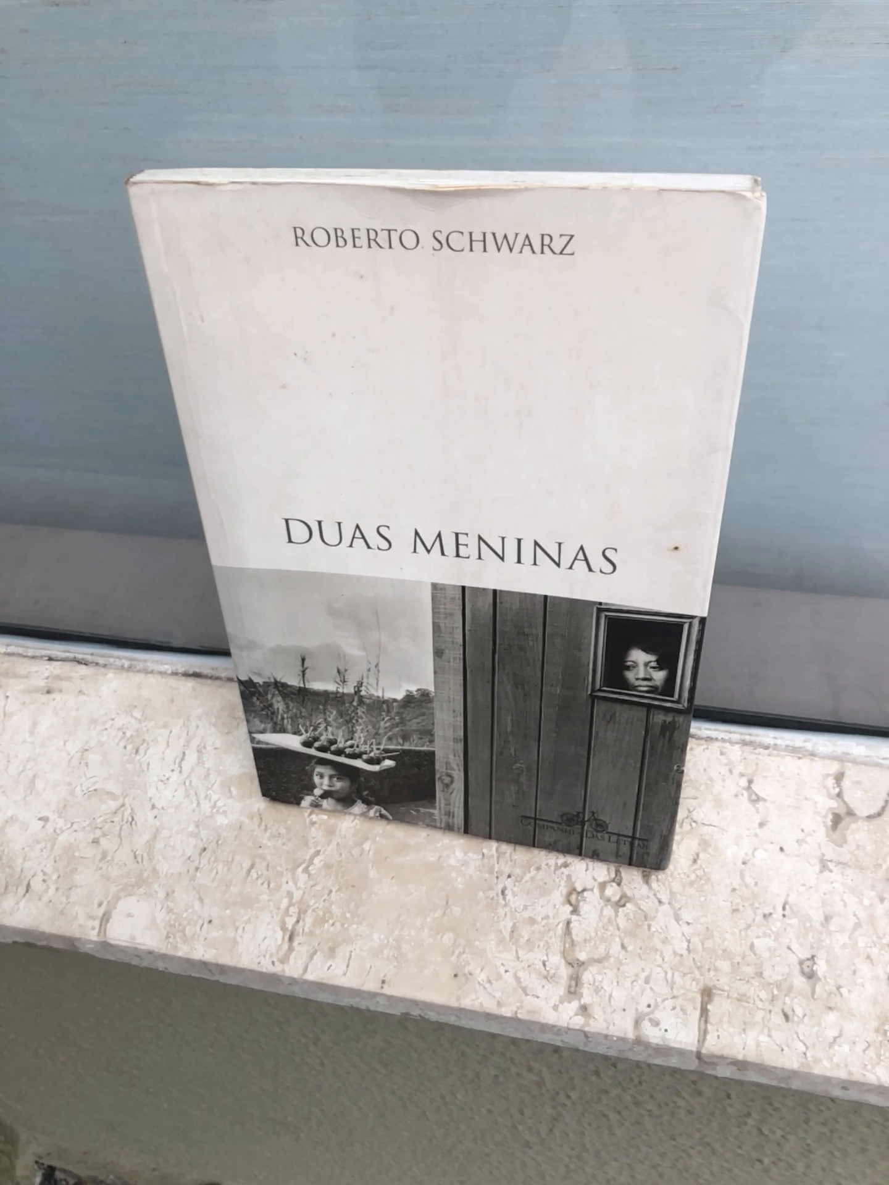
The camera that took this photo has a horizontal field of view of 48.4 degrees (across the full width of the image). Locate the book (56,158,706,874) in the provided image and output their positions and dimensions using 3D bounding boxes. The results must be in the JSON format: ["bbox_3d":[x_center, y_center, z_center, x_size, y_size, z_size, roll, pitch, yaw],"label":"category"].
[{"bbox_3d":[-0.011,-0.007,0.269,0.139,0.204,0.016,7,38,14],"label":"book"}]
